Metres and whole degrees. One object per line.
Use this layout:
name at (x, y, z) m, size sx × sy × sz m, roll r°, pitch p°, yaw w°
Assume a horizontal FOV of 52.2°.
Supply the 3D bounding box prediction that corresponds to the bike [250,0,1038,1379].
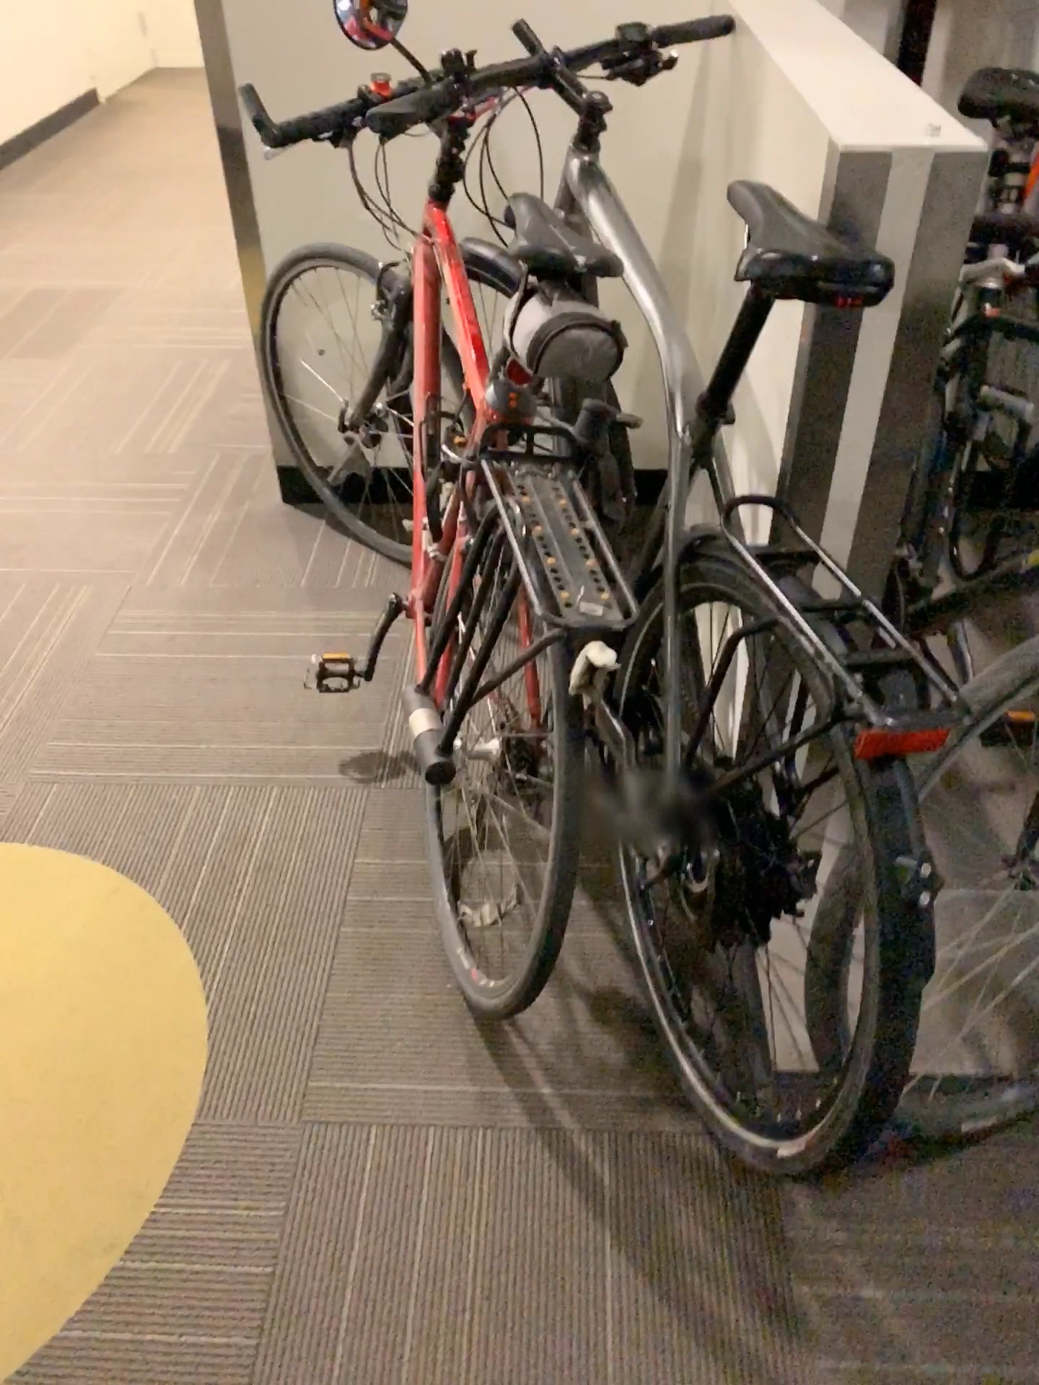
bike at (0.255, -0.007, 1.119) m, size 0.692 × 1.149 × 0.730 m, roll -13°, pitch 47°, yaw -14°

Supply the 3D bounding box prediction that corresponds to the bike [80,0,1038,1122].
bike at (-0.160, -0.404, 1.625) m, size 0.602 × 0.927 × 1.621 m, roll -14°, pitch 45°, yaw -15°
